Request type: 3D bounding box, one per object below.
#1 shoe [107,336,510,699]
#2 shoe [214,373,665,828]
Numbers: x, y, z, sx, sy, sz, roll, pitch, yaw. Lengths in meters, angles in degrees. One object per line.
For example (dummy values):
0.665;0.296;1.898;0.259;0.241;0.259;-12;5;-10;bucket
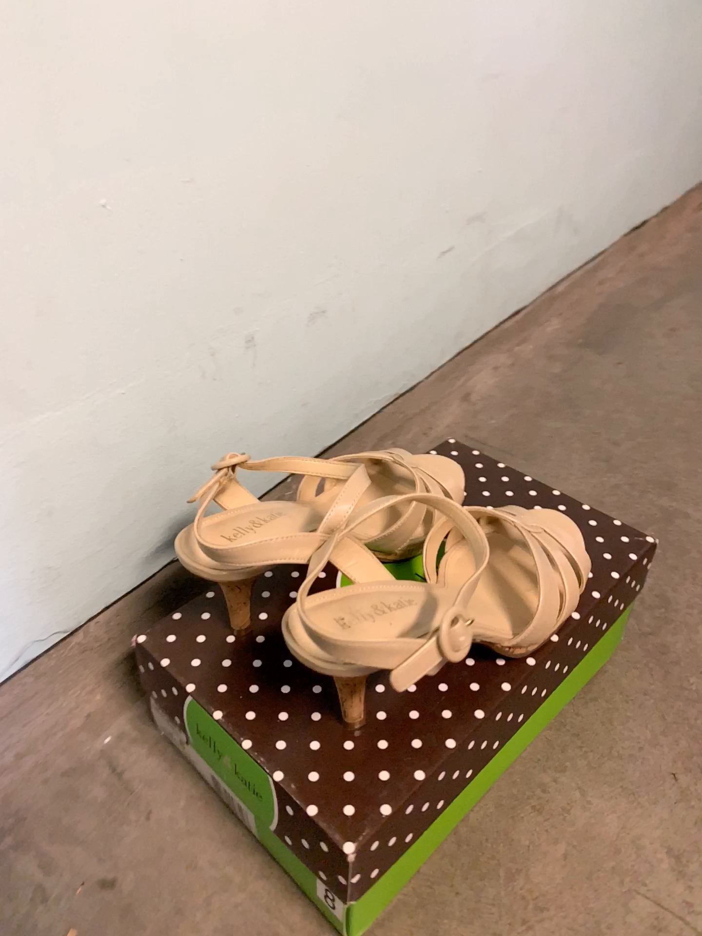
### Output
-0.014;0.015;0.473;0.241;0.109;0.101;-30;43;-35;shoe
0.058;0.052;0.402;0.241;0.109;0.101;-30;43;-35;shoe
